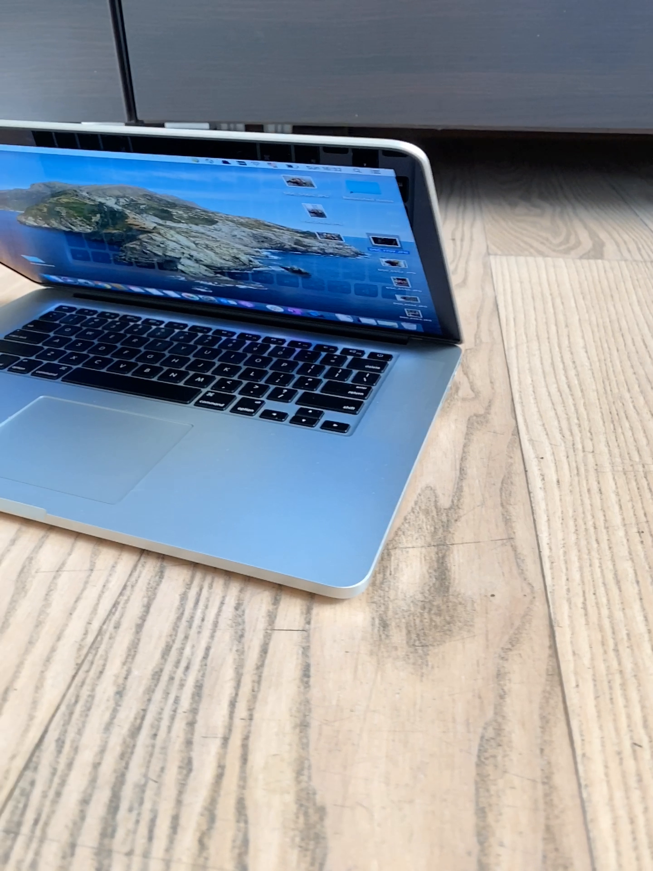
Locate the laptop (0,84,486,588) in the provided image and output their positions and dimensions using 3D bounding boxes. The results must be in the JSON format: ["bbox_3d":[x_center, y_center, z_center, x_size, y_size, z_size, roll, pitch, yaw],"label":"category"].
[{"bbox_3d":[-0.119,-0.096,0.386,0.362,0.157,0.237,11,35,16],"label":"laptop"}]
